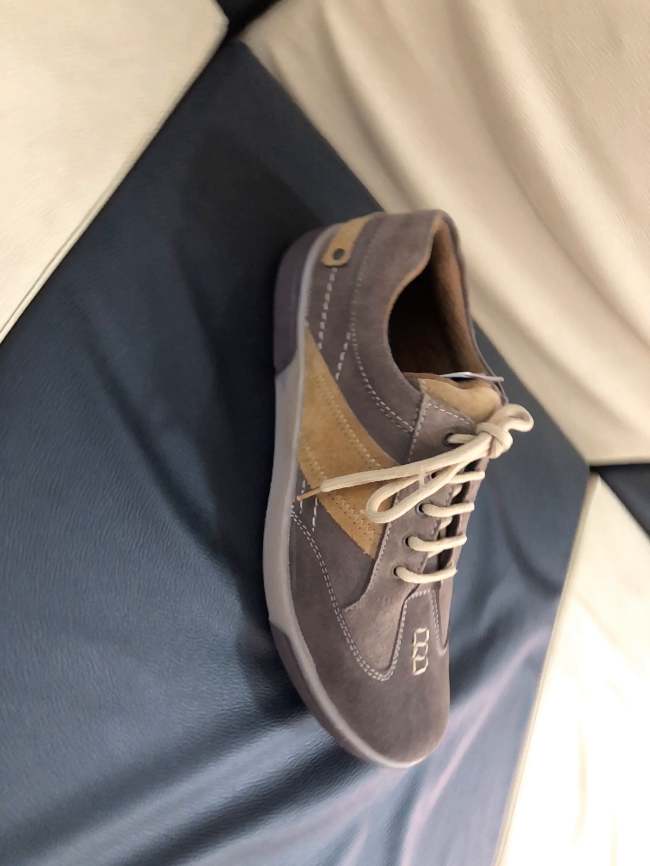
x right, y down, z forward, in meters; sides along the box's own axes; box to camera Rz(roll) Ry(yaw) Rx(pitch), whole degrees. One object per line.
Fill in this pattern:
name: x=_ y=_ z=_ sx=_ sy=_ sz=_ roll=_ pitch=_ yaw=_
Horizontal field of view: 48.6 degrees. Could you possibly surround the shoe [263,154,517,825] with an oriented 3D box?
shoe: x=0.033 y=0.024 z=0.375 sx=0.101 sy=0.079 sz=0.290 roll=6 pitch=81 yaw=-43
